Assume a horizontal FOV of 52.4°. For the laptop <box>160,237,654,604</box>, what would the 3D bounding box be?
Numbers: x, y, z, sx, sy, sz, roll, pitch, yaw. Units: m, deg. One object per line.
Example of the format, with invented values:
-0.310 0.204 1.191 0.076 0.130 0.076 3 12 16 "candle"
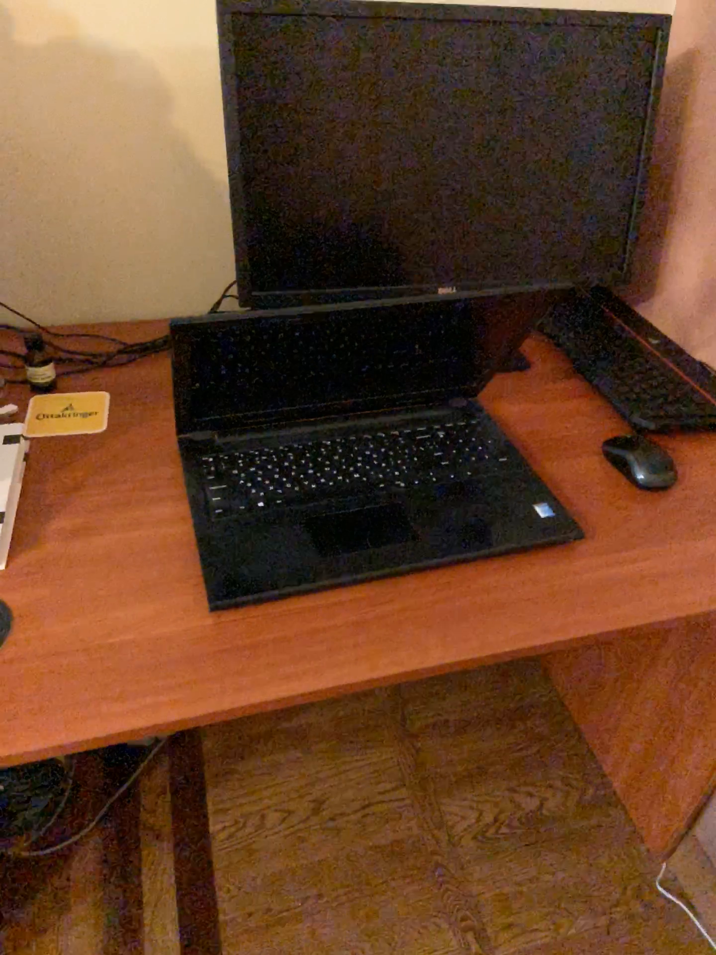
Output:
0.021 -0.076 0.711 0.372 0.212 0.255 -8 39 -16 "laptop"
